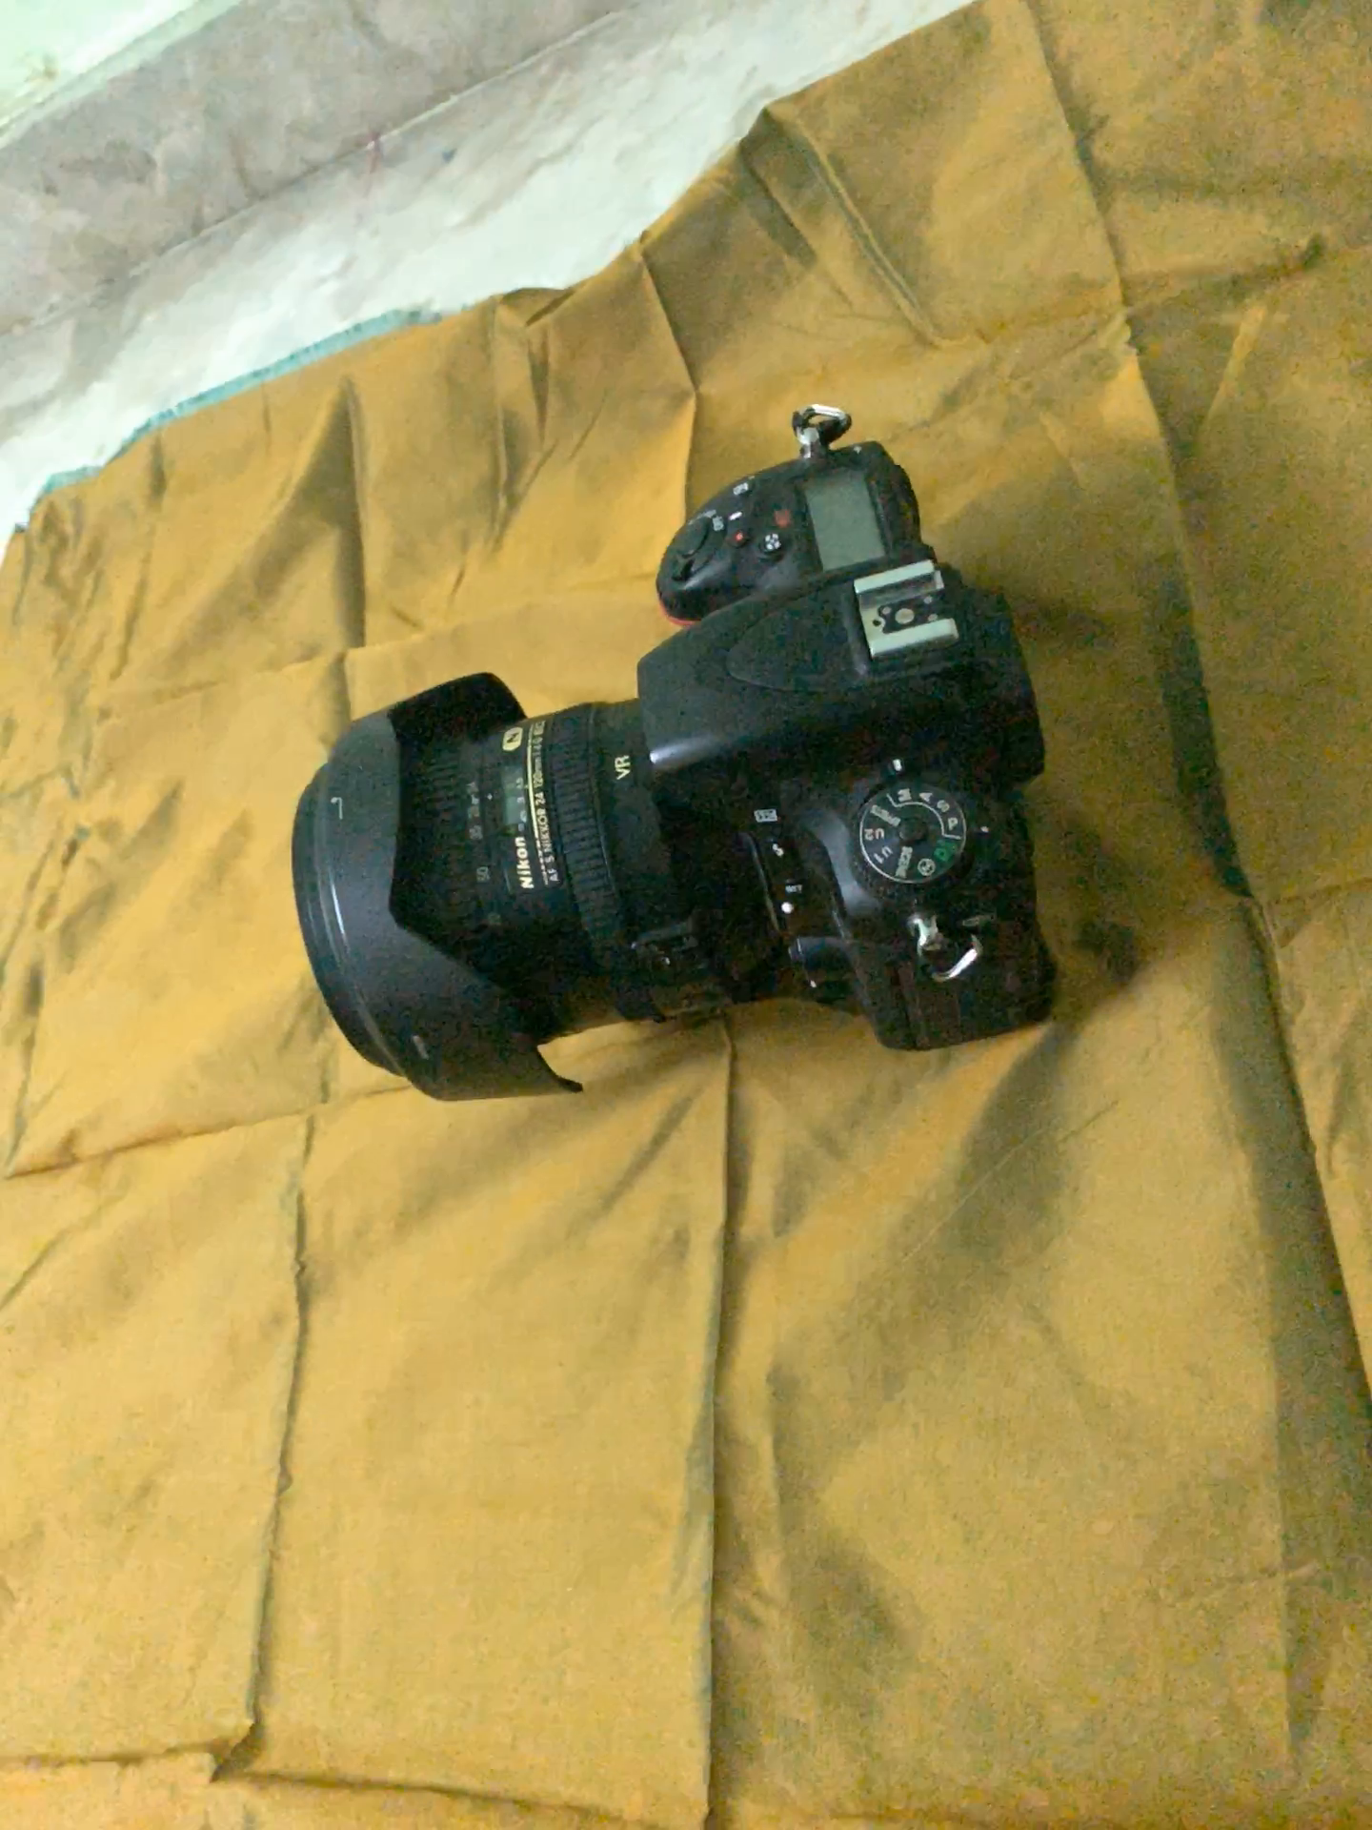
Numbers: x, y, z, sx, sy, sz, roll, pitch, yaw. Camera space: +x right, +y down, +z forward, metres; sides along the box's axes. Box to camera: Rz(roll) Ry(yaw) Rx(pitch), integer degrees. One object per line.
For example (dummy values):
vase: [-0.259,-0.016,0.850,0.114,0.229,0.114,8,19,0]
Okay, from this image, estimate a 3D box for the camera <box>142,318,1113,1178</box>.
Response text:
camera: [-0.010,-0.032,0.345,0.193,0.100,0.140,-11,61,12]
